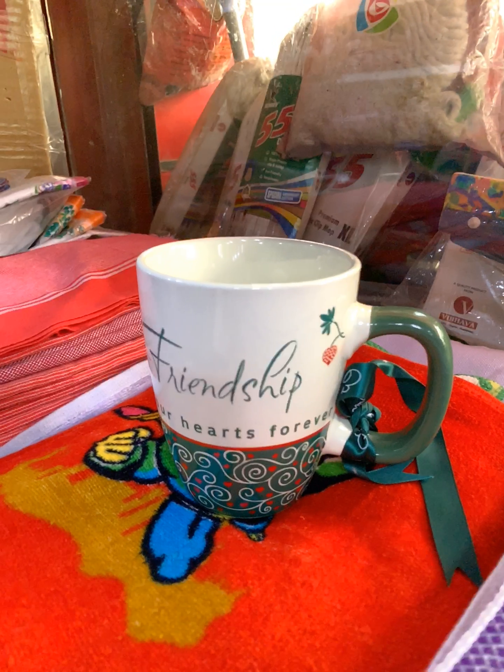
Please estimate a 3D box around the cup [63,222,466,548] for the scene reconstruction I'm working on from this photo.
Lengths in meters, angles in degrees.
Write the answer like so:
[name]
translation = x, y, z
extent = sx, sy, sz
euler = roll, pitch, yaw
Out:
[cup]
translation = 0.011, 0.008, 0.230
extent = 0.132, 0.094, 0.101
euler = 4, 23, 13
